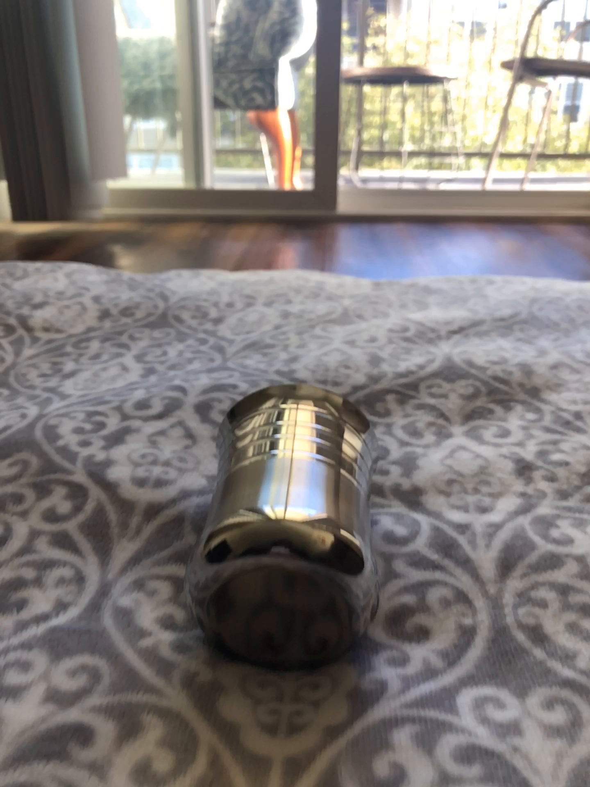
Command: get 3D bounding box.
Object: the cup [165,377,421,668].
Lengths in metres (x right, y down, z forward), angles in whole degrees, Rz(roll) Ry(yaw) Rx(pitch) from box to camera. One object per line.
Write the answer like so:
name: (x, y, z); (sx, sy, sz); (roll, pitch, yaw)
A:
cup: (0.002, 0.043, 0.252); (0.077, 0.066, 0.087); (2, 26, 4)
